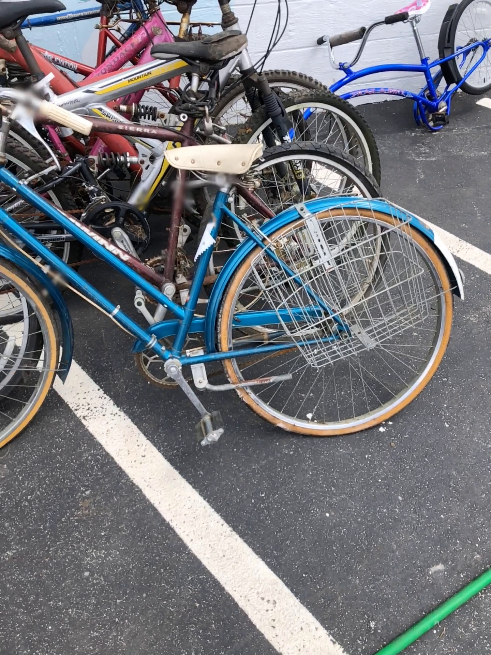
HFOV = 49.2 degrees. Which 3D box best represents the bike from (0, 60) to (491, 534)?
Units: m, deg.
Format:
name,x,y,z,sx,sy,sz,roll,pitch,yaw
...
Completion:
name,x,y,z,sx,sy,sz,roll,pitch,yaw
bike,-0.252,-0.103,1.218,1.482,0.760,0.477,-7,41,-10
